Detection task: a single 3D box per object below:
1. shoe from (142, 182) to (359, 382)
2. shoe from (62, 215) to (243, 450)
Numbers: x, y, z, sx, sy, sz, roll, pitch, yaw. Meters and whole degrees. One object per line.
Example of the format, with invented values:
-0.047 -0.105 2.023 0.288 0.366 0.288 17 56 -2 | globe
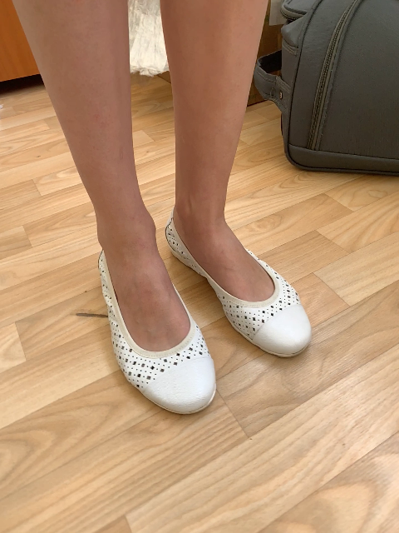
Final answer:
0.042 0.000 0.487 0.090 0.070 0.271 -29 47 -22 | shoe
-0.066 0.052 0.470 0.100 0.070 0.271 -23 45 -17 | shoe
